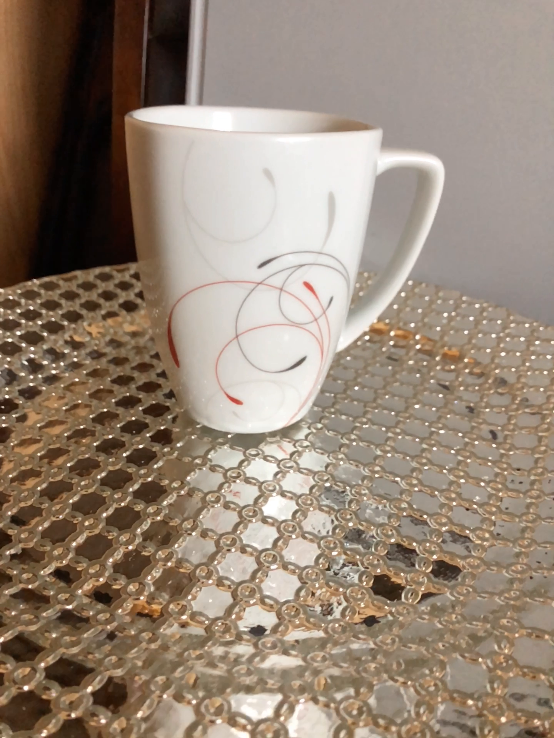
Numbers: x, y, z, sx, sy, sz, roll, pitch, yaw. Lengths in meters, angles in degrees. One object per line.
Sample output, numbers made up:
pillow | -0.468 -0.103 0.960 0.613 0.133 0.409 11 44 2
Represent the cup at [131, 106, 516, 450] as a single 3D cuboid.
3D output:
cup | 0.009 -0.042 0.238 0.110 0.100 0.080 -7 28 -21
